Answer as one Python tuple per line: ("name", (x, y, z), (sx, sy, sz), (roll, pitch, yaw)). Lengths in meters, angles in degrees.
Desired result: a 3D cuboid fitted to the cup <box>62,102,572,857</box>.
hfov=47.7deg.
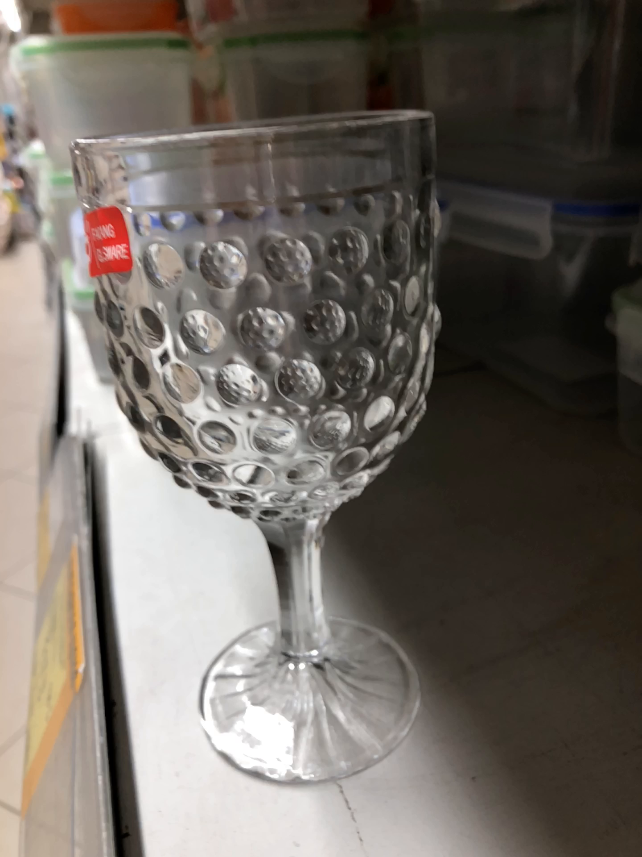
("cup", (-0.005, 0.007, 0.185), (0.086, 0.160, 0.081), (-2, 24, 1))
